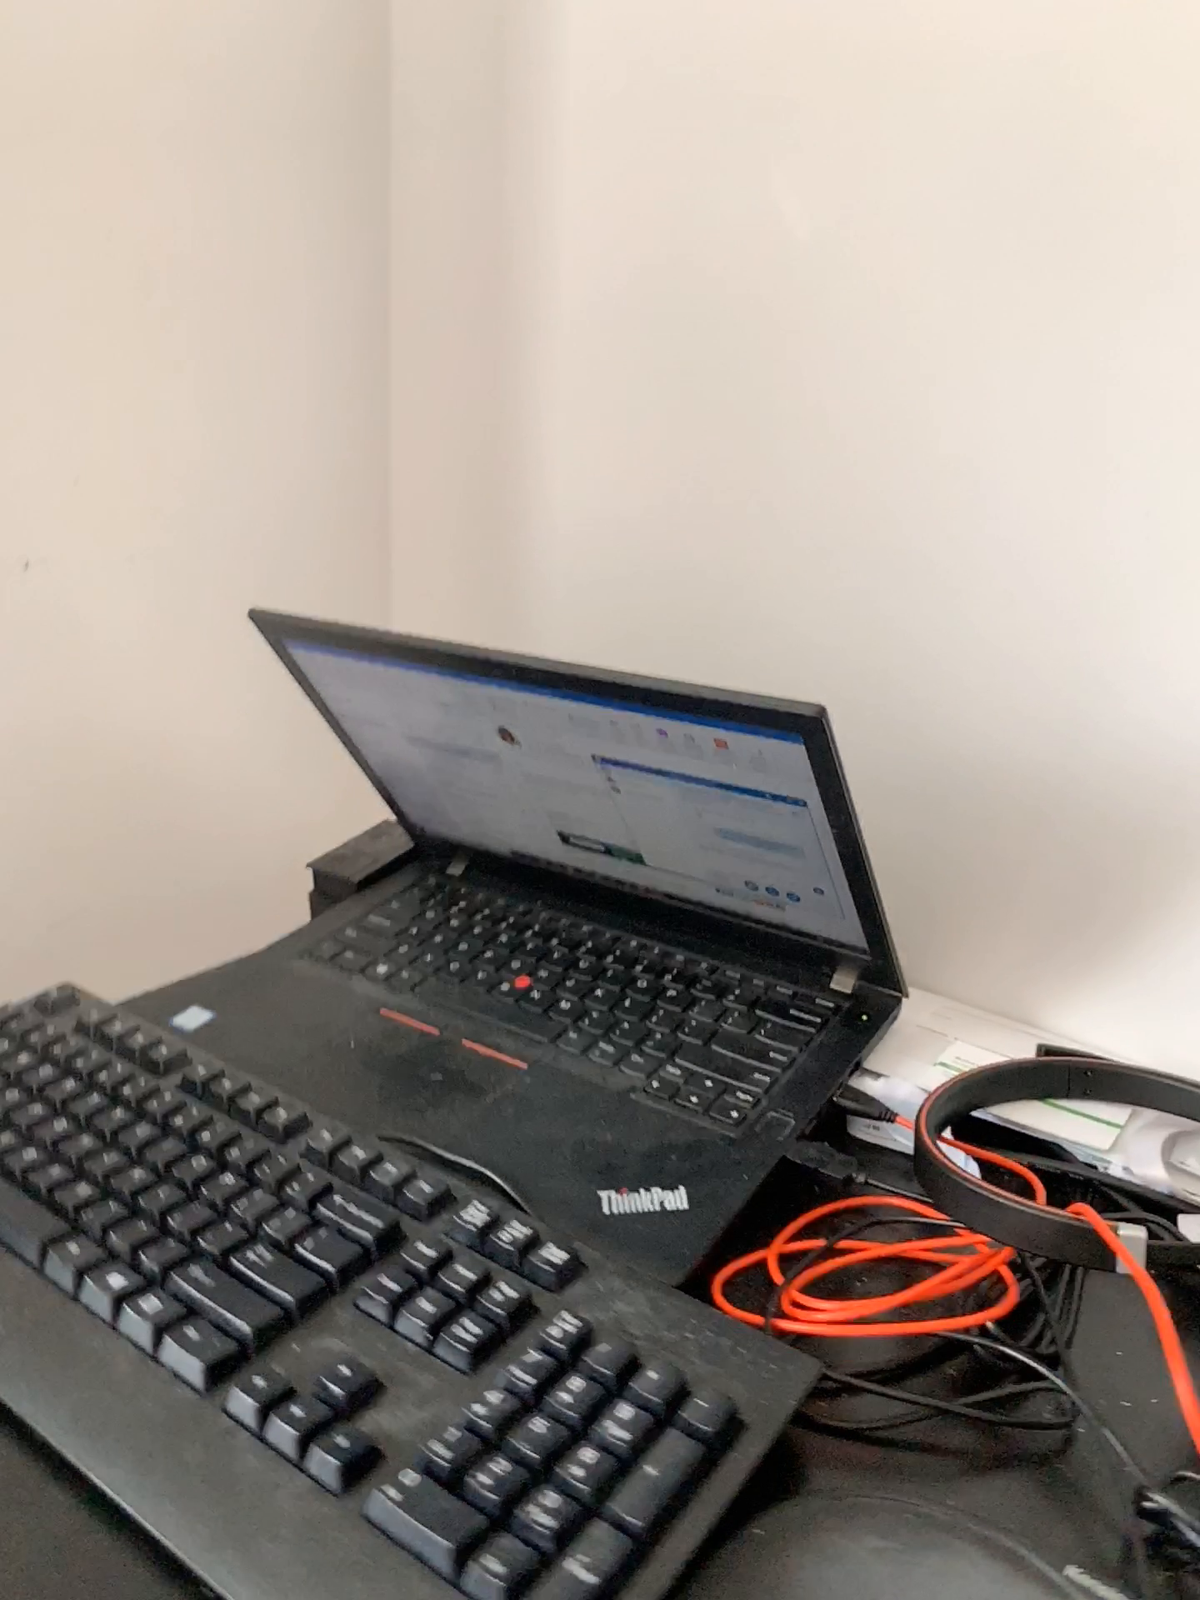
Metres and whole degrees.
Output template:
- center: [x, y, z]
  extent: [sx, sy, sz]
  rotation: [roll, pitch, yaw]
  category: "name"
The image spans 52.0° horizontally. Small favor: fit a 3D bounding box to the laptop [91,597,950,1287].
- center: [-0.041, 0.028, 0.616]
  extent: [0.335, 0.172, 0.237]
  rotation: [13, 24, 32]
  category: "laptop"
